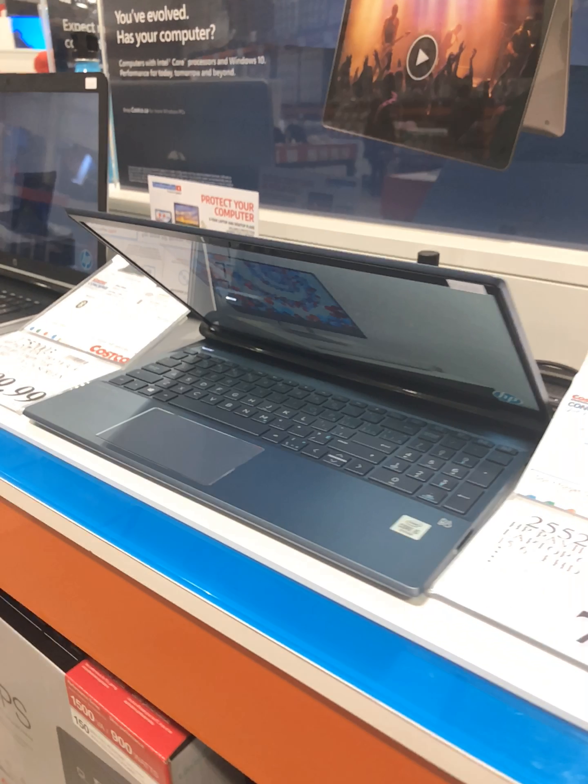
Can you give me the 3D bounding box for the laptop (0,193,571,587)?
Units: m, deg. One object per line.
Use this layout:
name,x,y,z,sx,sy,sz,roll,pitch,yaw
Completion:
laptop,-0.013,-0.046,0.488,0.347,0.149,0.218,17,30,34

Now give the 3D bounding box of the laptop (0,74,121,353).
laptop,-0.427,-0.239,0.748,0.343,0.227,0.288,17,30,32
